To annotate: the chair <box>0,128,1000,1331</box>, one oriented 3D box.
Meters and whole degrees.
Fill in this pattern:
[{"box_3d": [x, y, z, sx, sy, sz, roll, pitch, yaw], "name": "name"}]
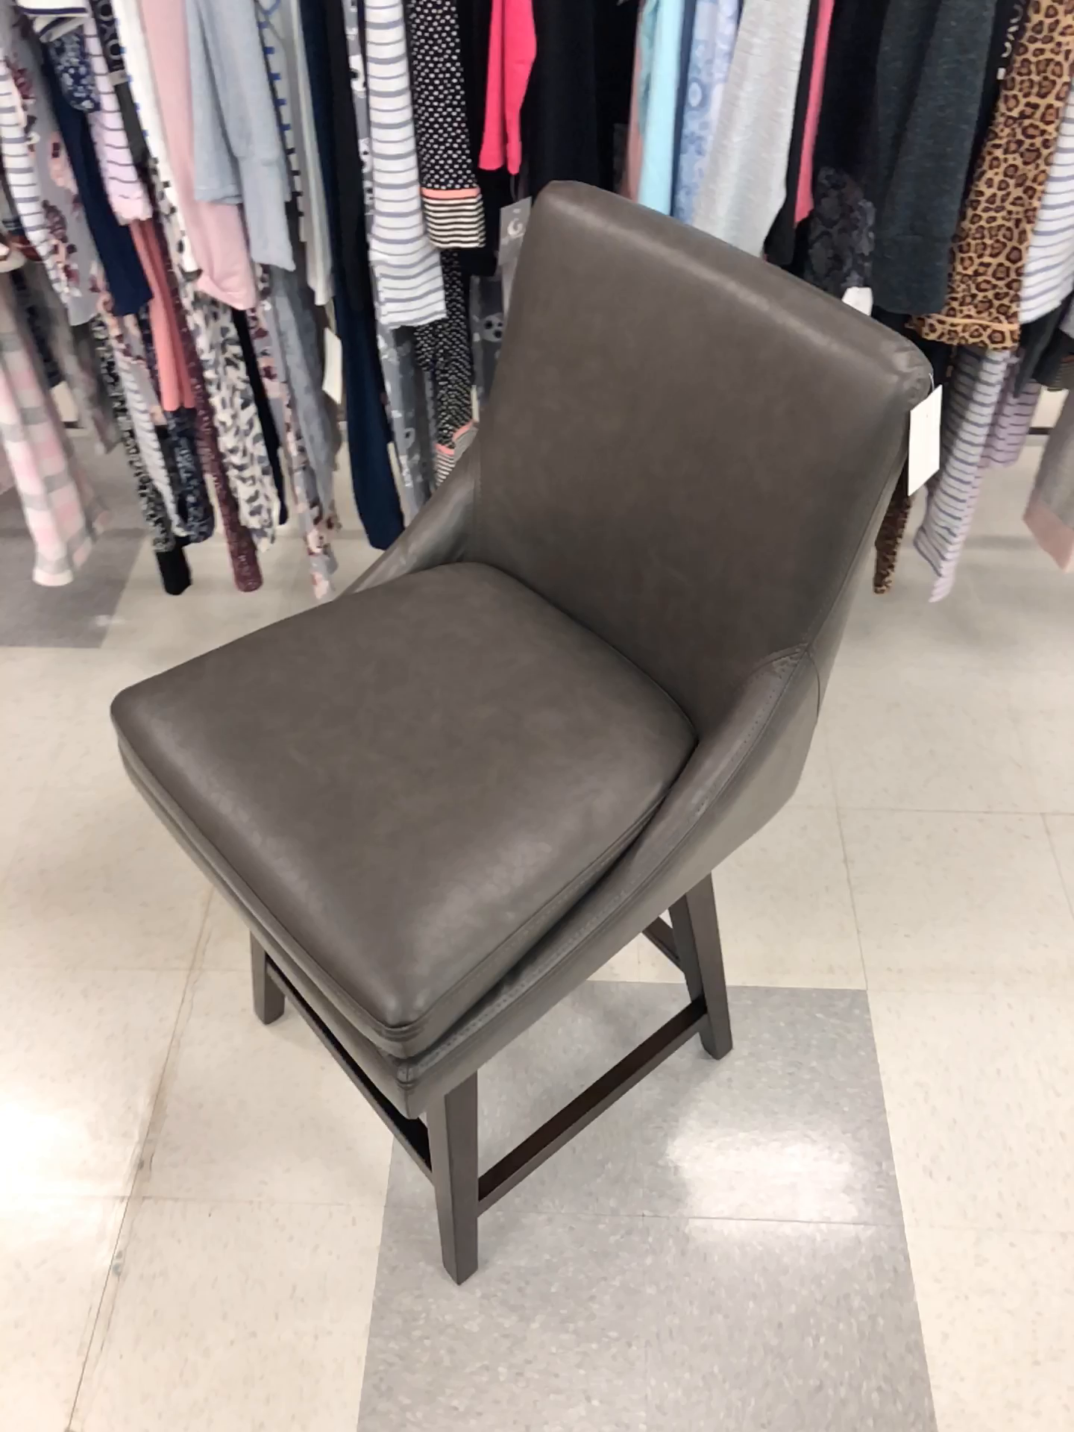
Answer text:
[{"box_3d": [-0.060, 0.059, 1.146, 0.580, 0.918, 0.493, -33, 56, -26], "name": "chair"}]
